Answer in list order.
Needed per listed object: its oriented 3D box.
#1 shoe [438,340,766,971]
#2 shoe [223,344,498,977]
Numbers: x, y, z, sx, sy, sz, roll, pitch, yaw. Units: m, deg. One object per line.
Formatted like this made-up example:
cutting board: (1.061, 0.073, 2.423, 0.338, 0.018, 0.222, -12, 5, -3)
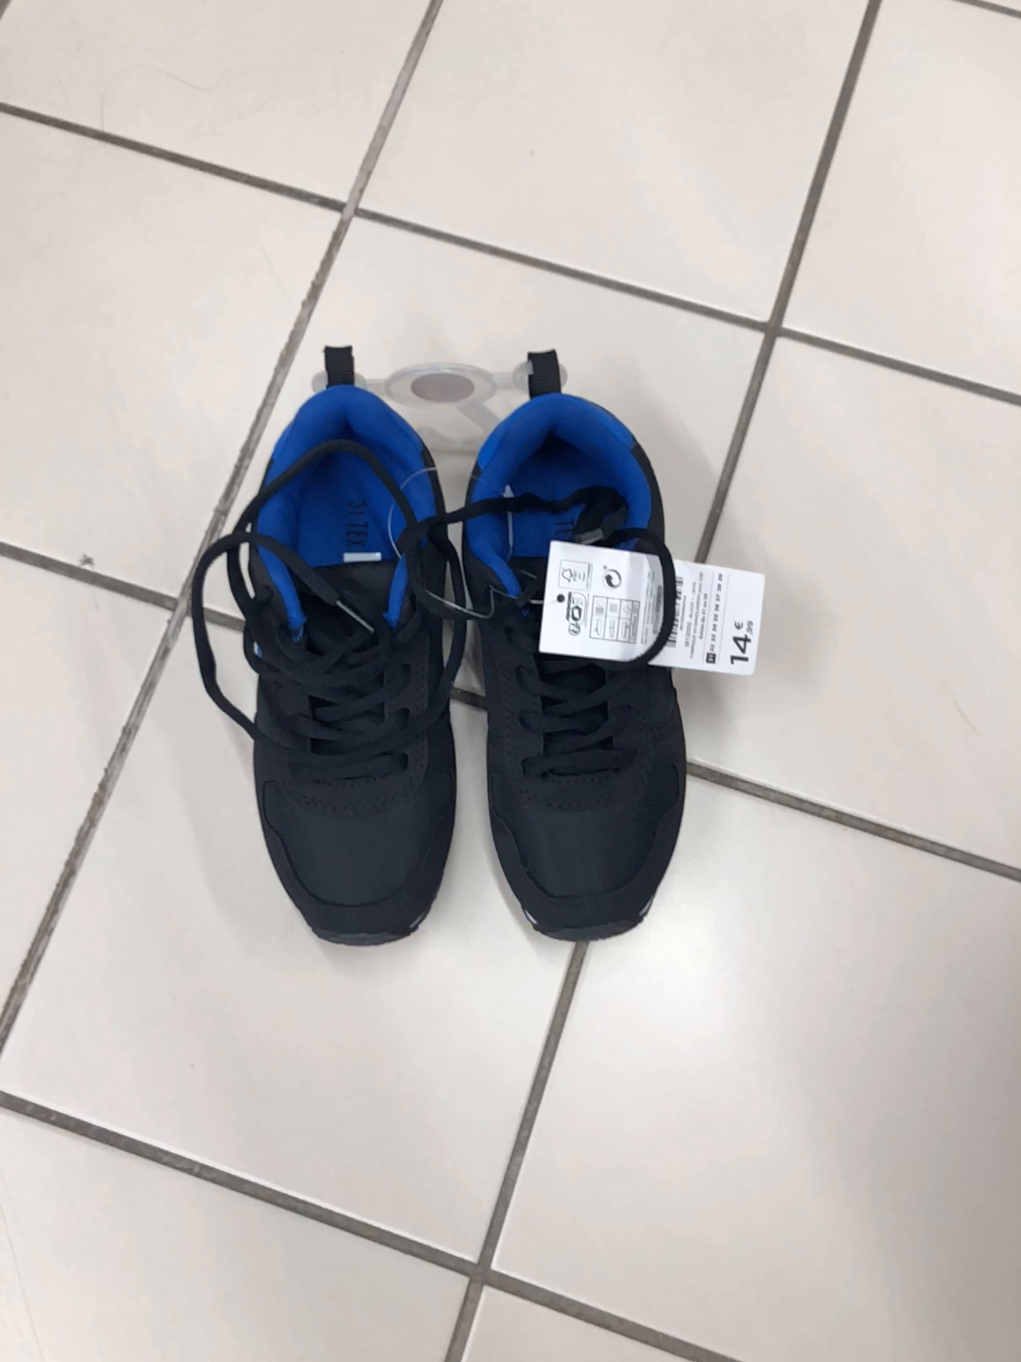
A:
shoe: (0.027, -0.008, 0.412, 0.085, 0.071, 0.212, -6, 76, -1)
shoe: (-0.054, -0.007, 0.411, 0.085, 0.061, 0.217, -4, 76, -1)
